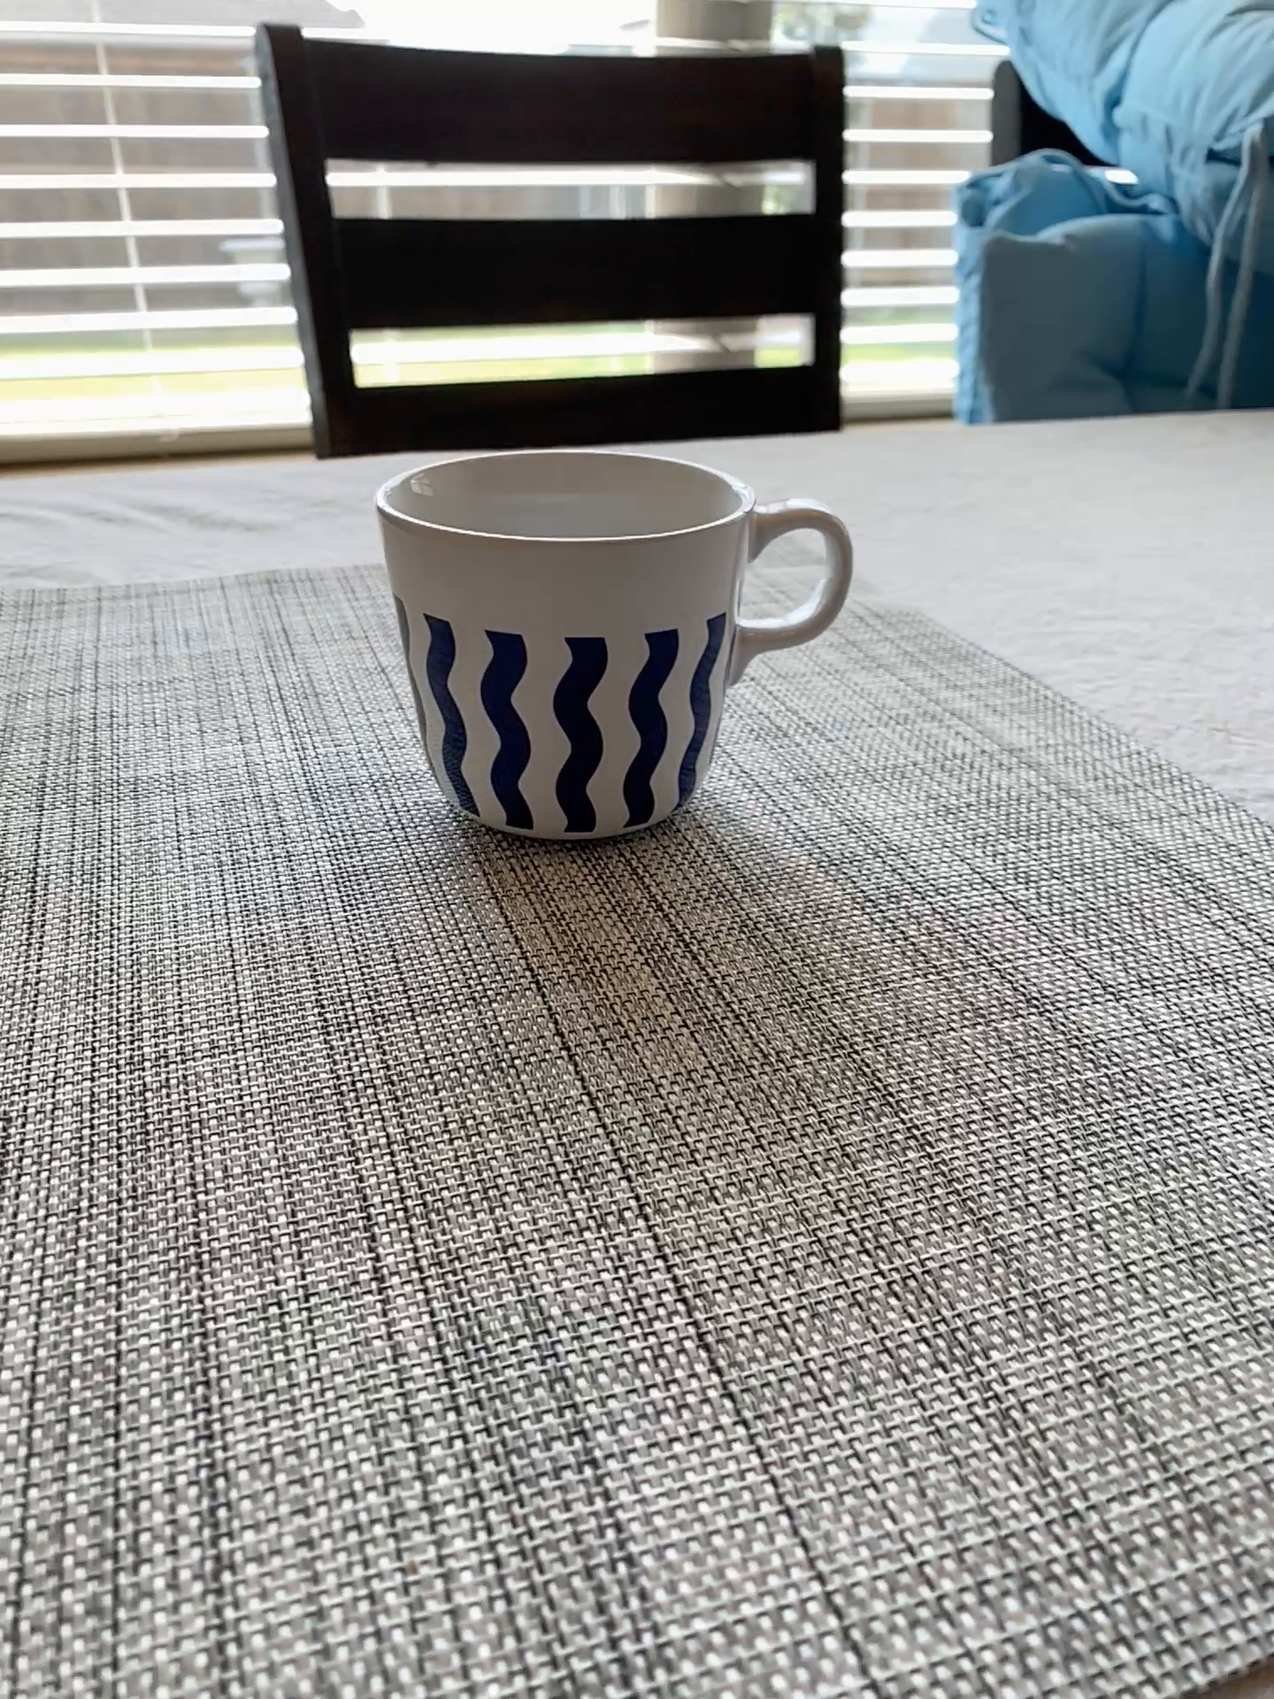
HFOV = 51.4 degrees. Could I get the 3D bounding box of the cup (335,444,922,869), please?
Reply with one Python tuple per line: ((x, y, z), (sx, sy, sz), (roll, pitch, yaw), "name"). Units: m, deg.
((-0.003, -0.049, 0.308), (0.112, 0.072, 0.087), (-1, 28, -2), "cup")
